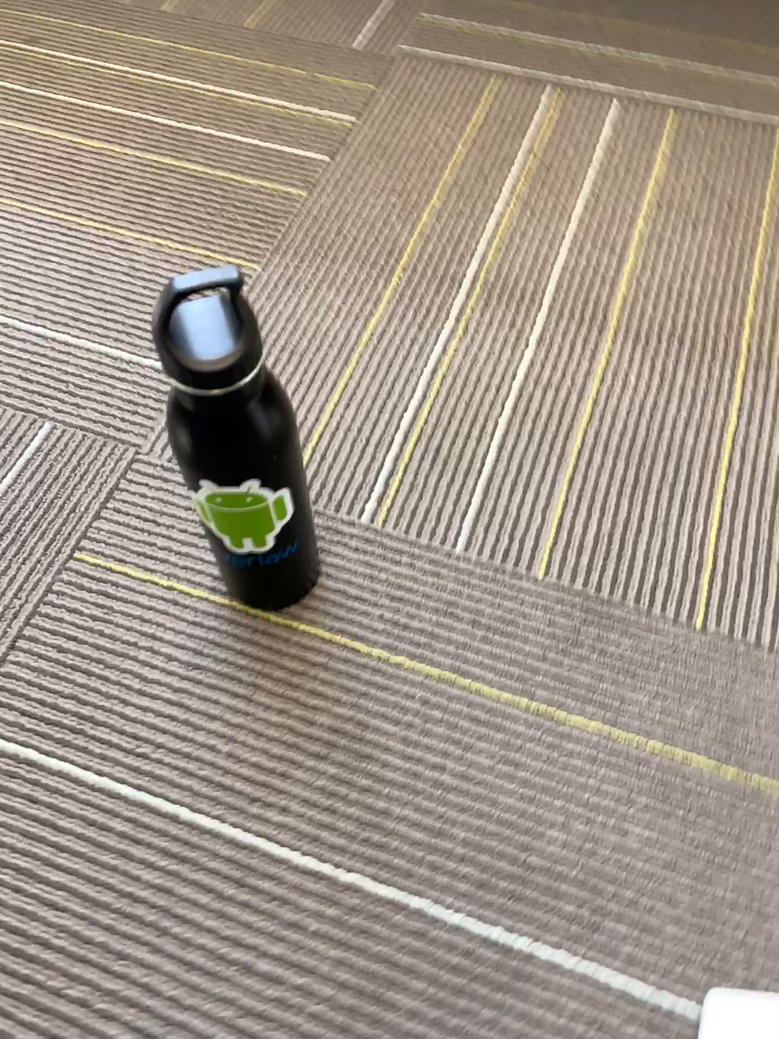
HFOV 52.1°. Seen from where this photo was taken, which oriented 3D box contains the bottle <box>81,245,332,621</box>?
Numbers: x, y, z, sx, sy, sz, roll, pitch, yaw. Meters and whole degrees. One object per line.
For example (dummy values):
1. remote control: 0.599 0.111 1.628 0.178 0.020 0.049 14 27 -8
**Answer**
1. bottle: -0.084 -0.030 0.452 0.090 0.239 0.080 -2 59 -2
